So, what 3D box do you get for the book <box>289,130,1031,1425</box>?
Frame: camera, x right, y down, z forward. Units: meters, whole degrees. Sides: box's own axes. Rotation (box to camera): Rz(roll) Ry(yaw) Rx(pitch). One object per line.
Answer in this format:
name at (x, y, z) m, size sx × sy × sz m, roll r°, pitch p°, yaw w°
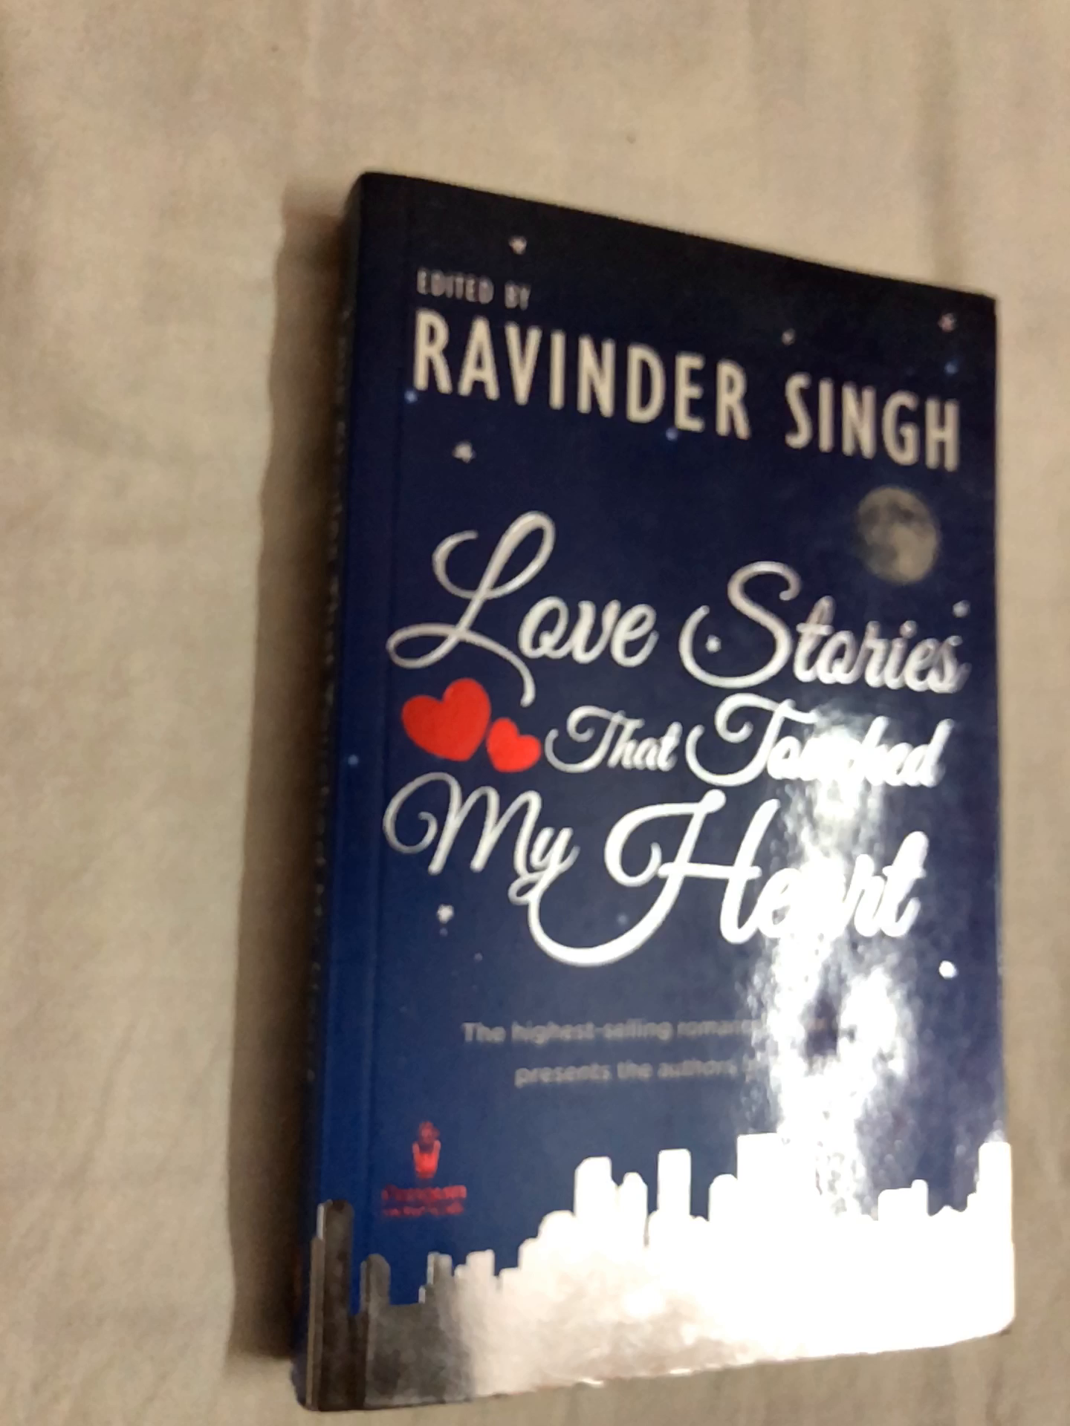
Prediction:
book at (0.026, 0.012, 0.228) m, size 0.130 × 0.030 × 0.210 m, roll 3°, pitch 84°, yaw -17°
